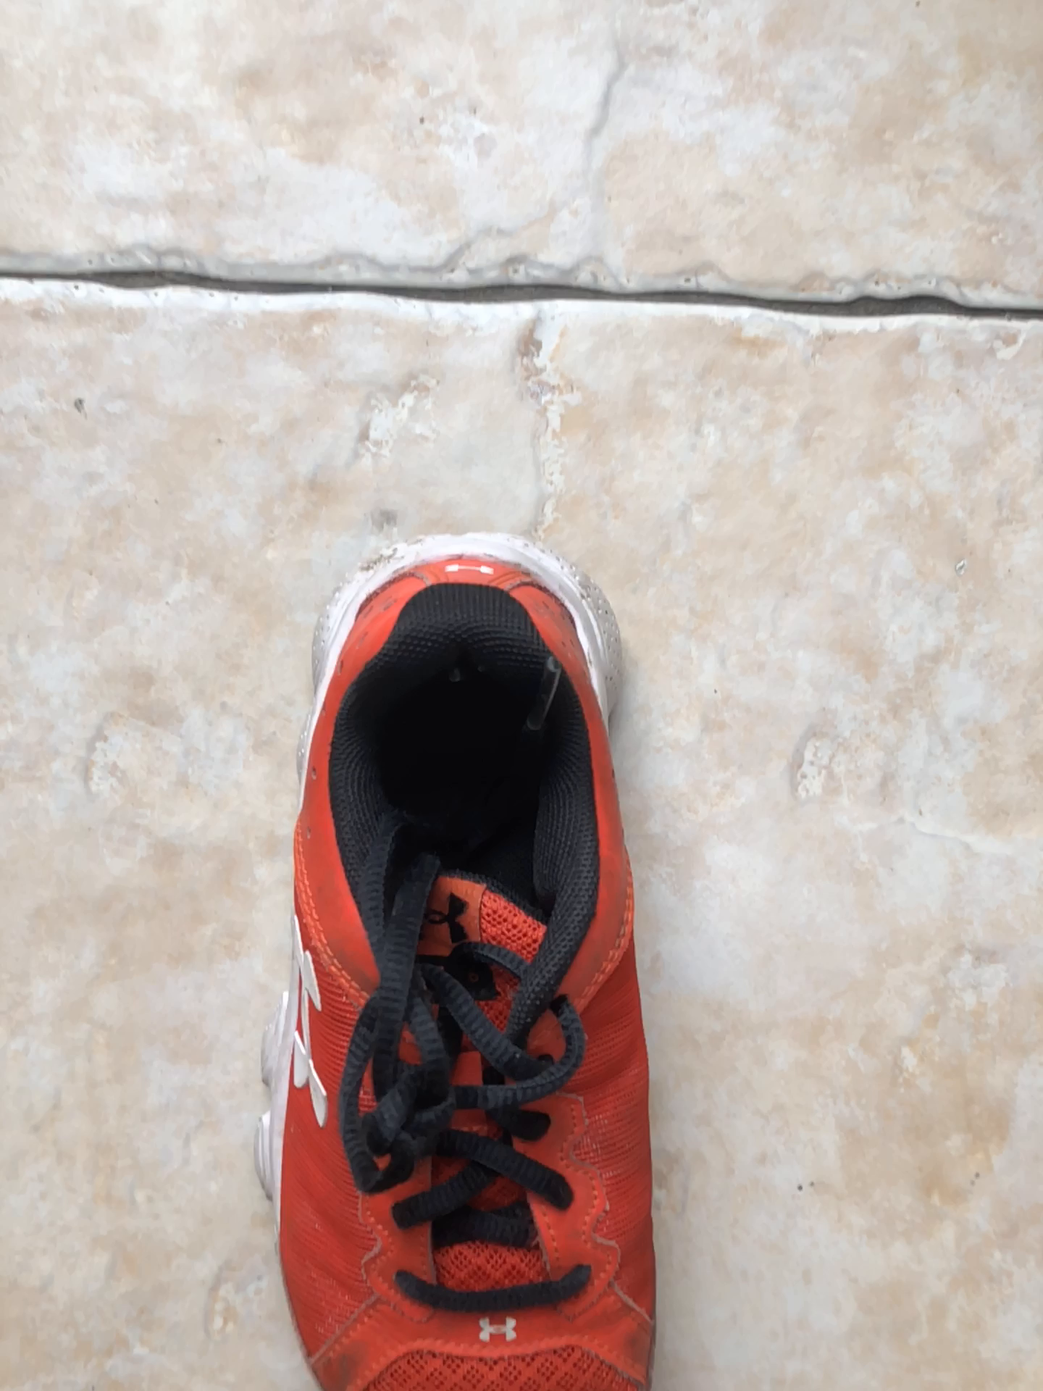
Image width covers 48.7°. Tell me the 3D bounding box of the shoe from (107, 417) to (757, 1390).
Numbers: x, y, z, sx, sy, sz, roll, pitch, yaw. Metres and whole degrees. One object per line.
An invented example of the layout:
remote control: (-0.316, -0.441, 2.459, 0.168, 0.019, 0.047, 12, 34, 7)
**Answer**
shoe: (-0.016, 0.076, 0.232, 0.100, 0.100, 0.240, -1, 89, -2)
